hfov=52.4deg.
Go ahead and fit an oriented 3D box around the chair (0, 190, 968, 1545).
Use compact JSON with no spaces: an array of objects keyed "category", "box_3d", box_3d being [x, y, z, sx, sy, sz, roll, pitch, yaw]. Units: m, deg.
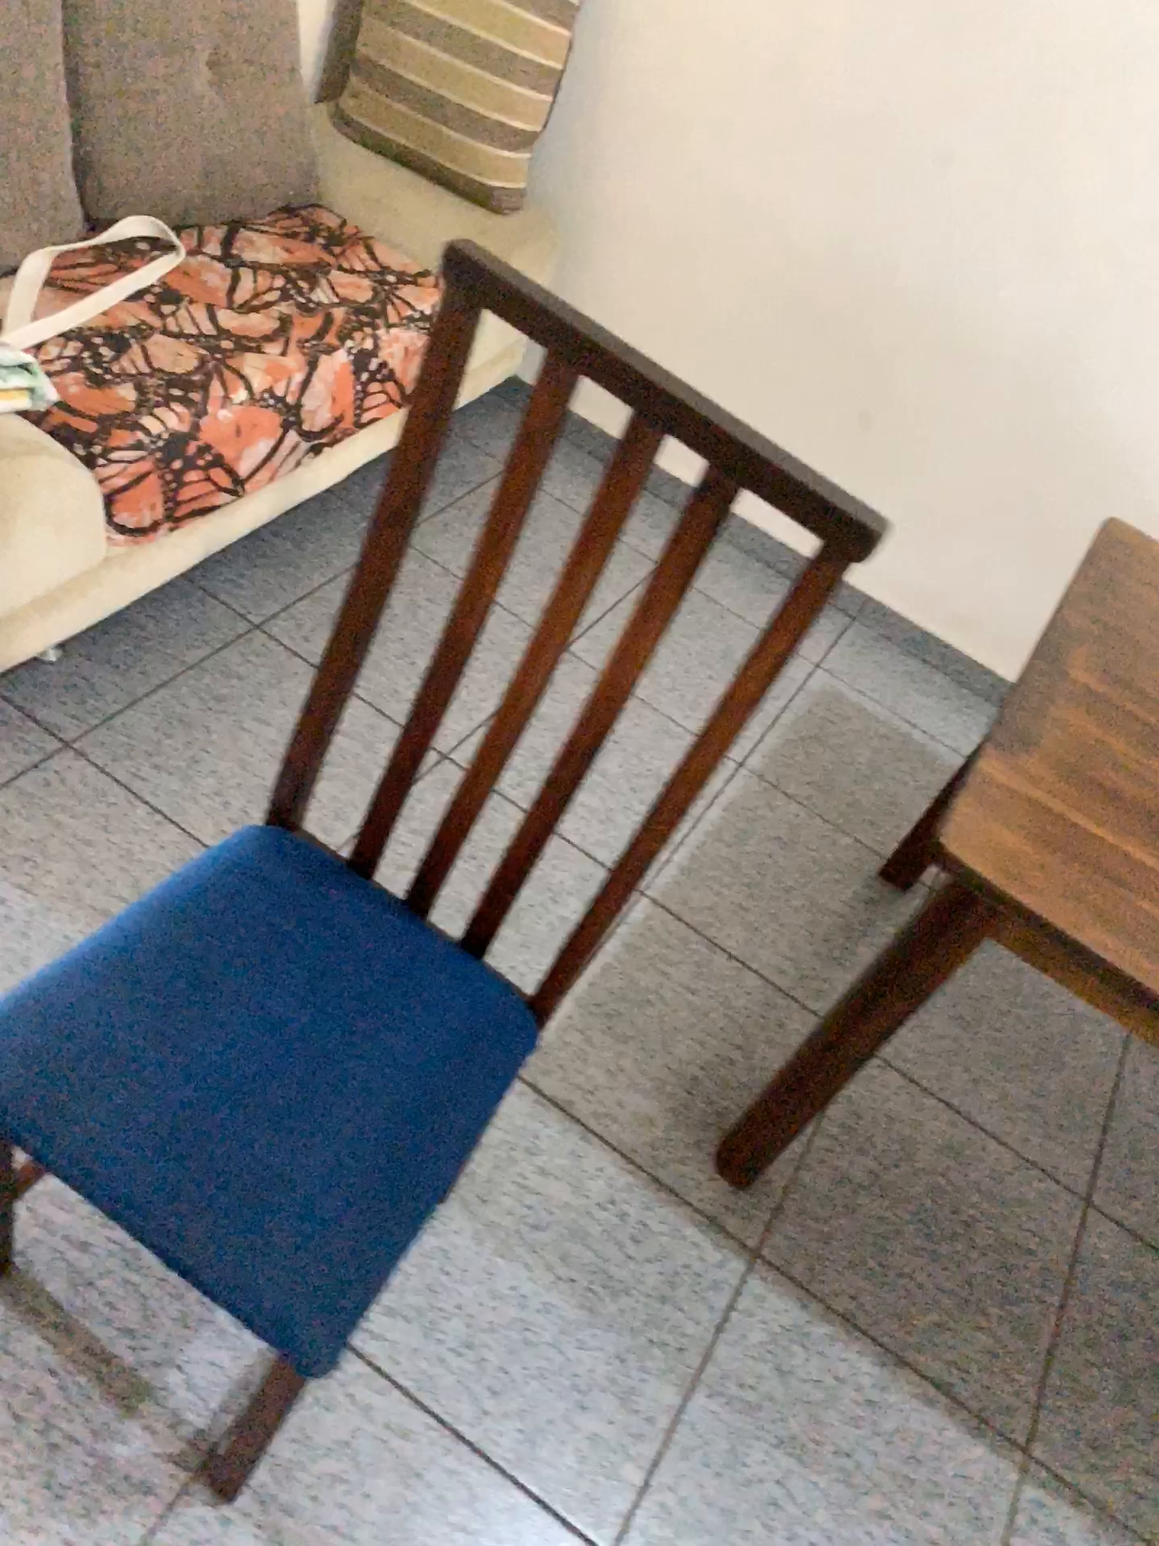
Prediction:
[{"category":"chair","box_3d":[-0.239,0.188,1.060,0.470,1.124,0.523,37,45,9]}]
